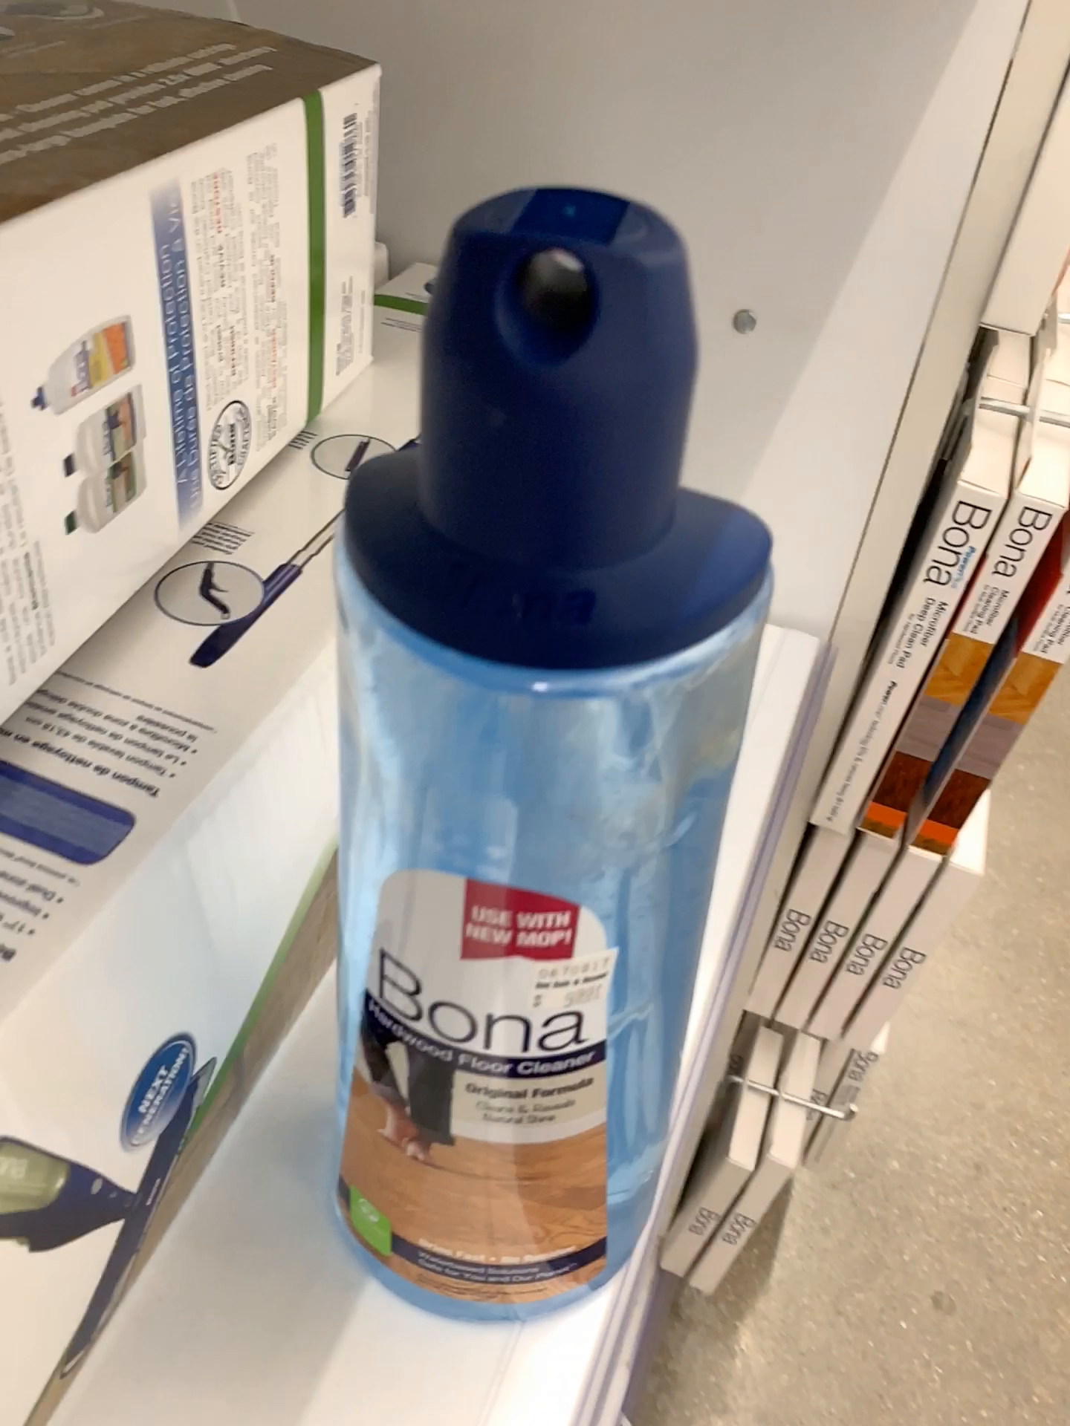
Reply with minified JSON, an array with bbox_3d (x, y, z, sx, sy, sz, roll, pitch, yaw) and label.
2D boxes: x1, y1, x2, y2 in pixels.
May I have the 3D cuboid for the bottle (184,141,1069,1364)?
[{"bbox_3d":[0.005,0.043,0.242,0.100,0.279,0.080,8,42,2],"label":"bottle"}]
